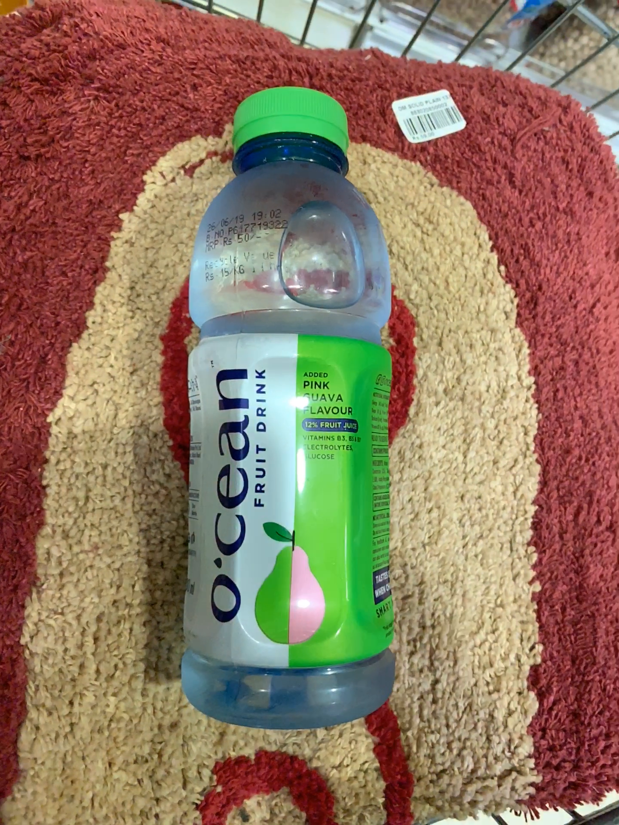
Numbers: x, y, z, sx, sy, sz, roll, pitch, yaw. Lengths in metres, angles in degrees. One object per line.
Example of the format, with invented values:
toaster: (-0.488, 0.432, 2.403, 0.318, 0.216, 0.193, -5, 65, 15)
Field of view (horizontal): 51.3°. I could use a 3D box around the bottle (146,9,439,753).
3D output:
bottle: (-0.002, -0.011, 0.218, 0.080, 0.070, 0.210, 0, 86, 3)
